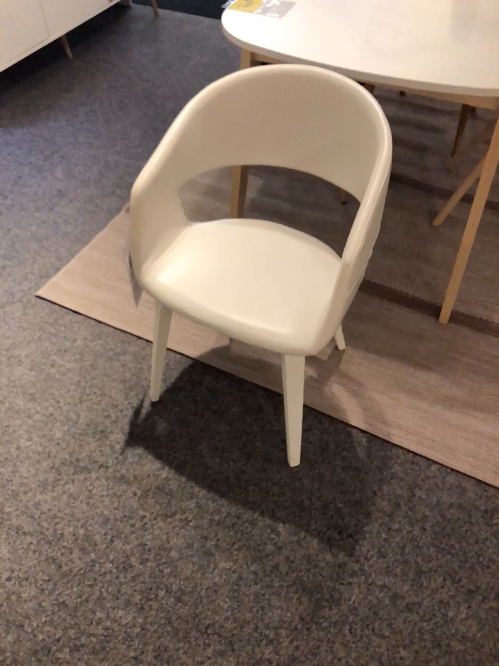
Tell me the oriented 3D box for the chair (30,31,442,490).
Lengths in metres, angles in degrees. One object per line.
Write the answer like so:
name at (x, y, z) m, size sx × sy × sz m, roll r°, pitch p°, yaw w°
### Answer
chair at (0.010, -0.150, 1.286) m, size 0.550 × 0.756 × 0.563 m, roll 21°, pitch 53°, yaw 17°
